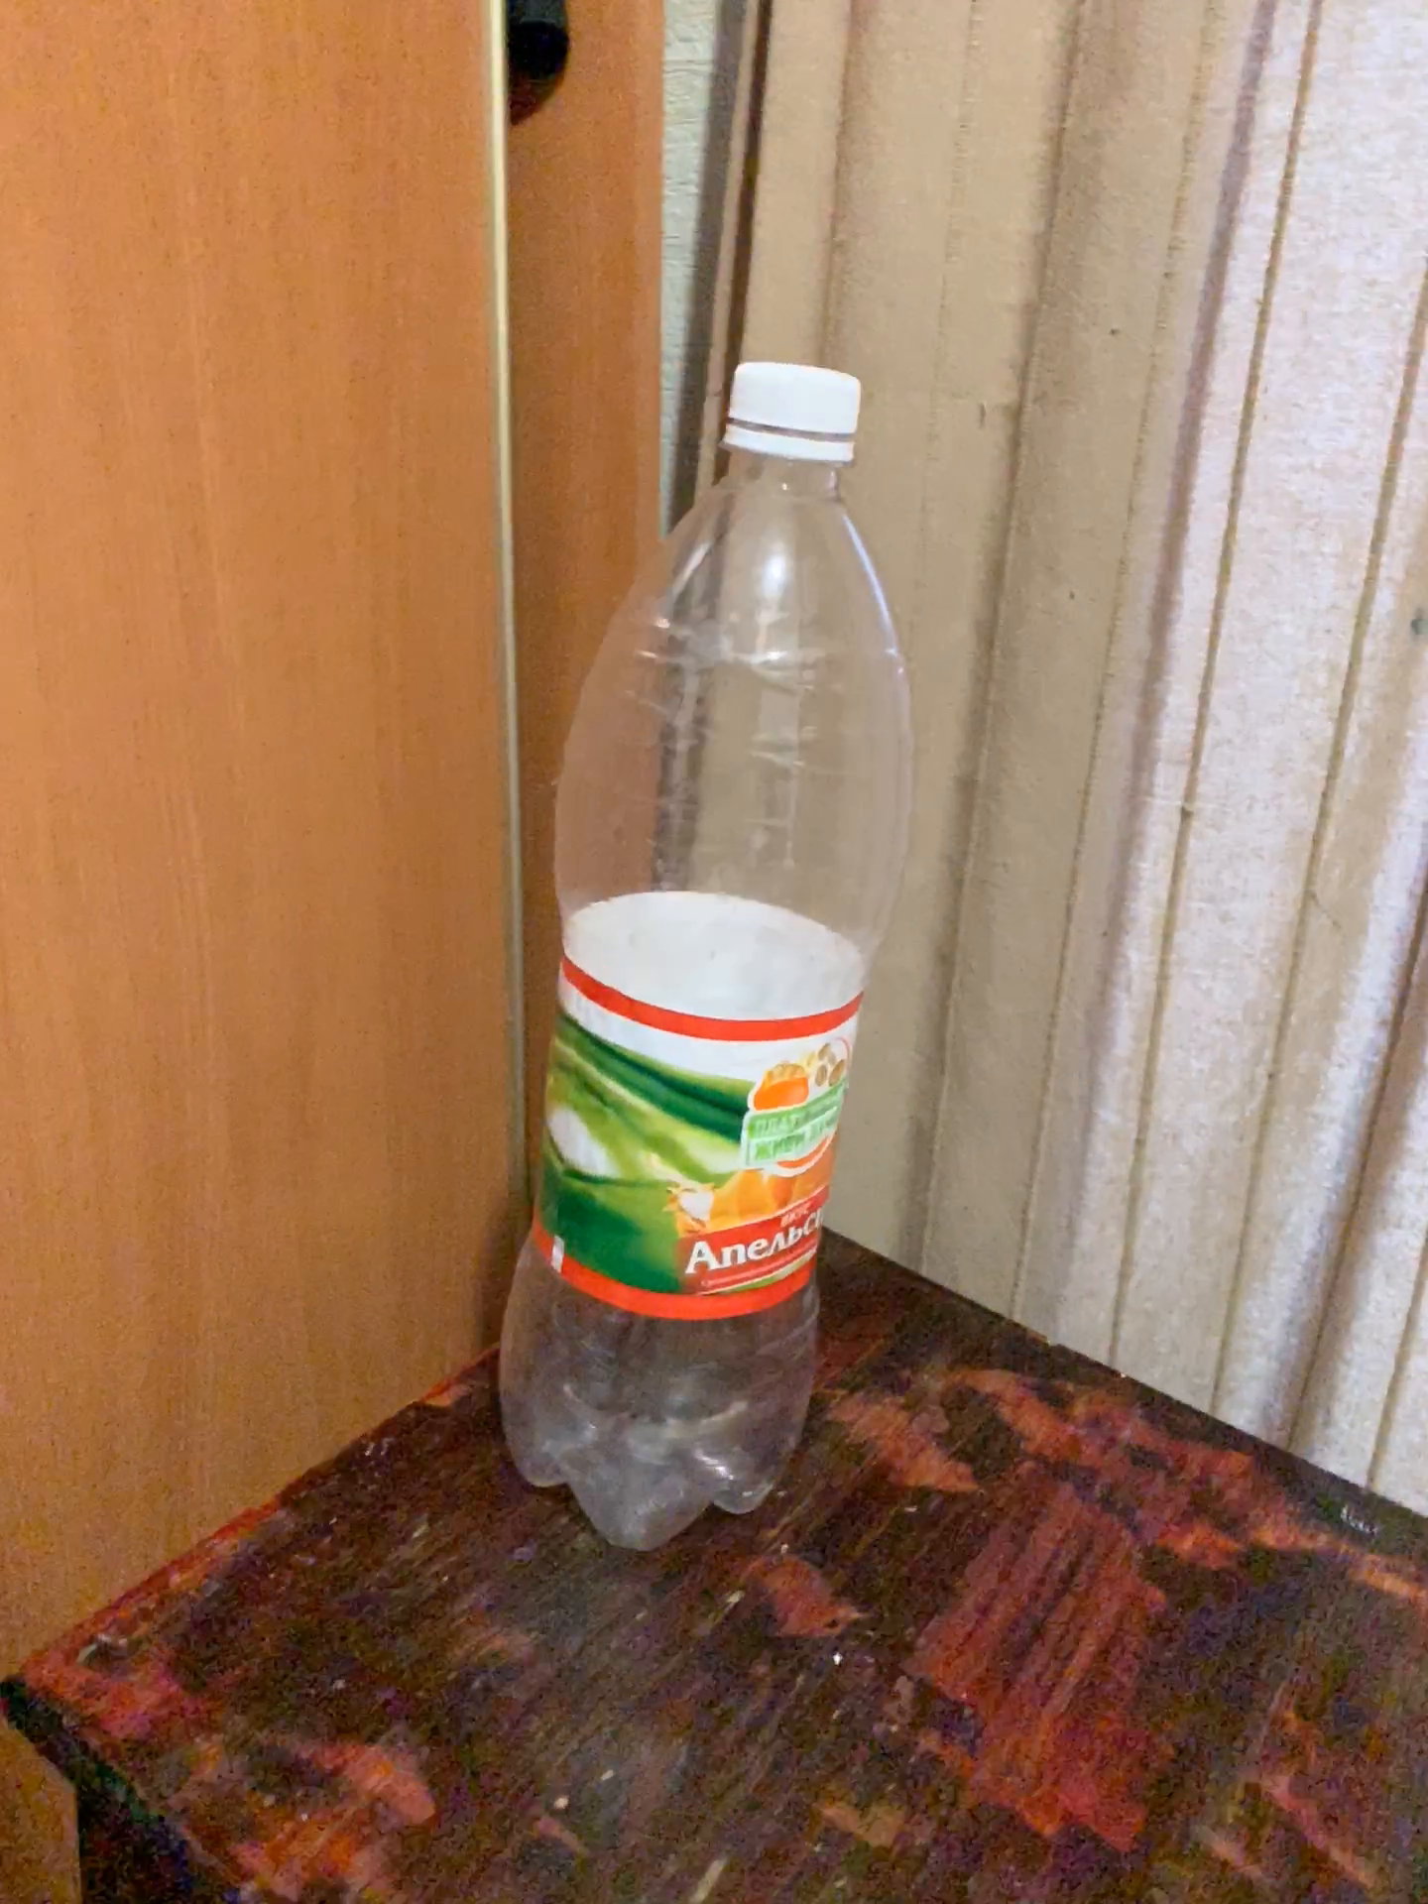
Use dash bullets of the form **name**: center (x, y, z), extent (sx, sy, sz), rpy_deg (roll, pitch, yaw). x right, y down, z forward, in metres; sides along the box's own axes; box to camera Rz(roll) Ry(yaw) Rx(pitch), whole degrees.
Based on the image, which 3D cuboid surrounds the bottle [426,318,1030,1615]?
- **bottle**: center (-0.009, 0.005, 0.402), extent (0.100, 0.318, 0.100), rpy_deg (4, 22, -2)
